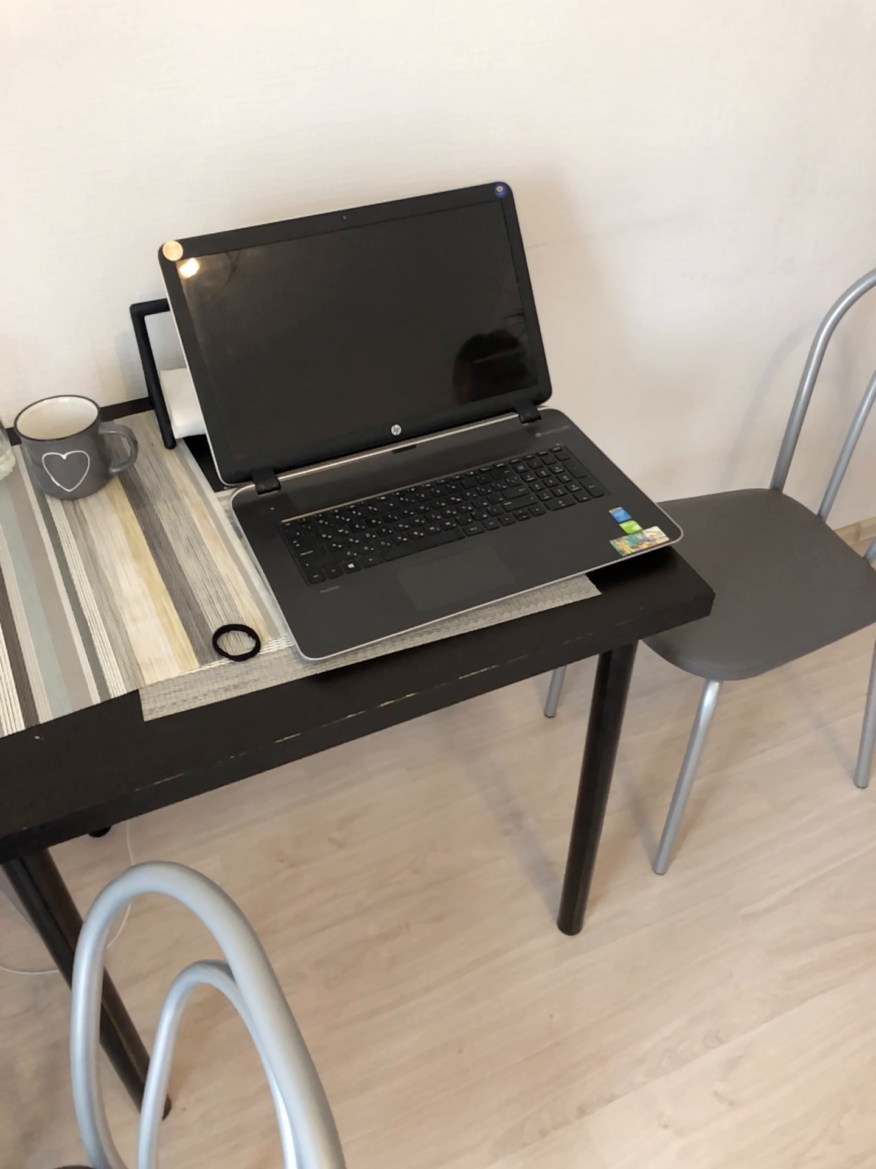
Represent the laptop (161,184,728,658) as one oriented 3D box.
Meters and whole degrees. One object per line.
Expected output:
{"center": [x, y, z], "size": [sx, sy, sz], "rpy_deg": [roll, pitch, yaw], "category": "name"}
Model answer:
{"center": [-0.016, -0.203, 1.014], "size": [0.415, 0.227, 0.414], "rpy_deg": [-18, 45, -17], "category": "laptop"}
